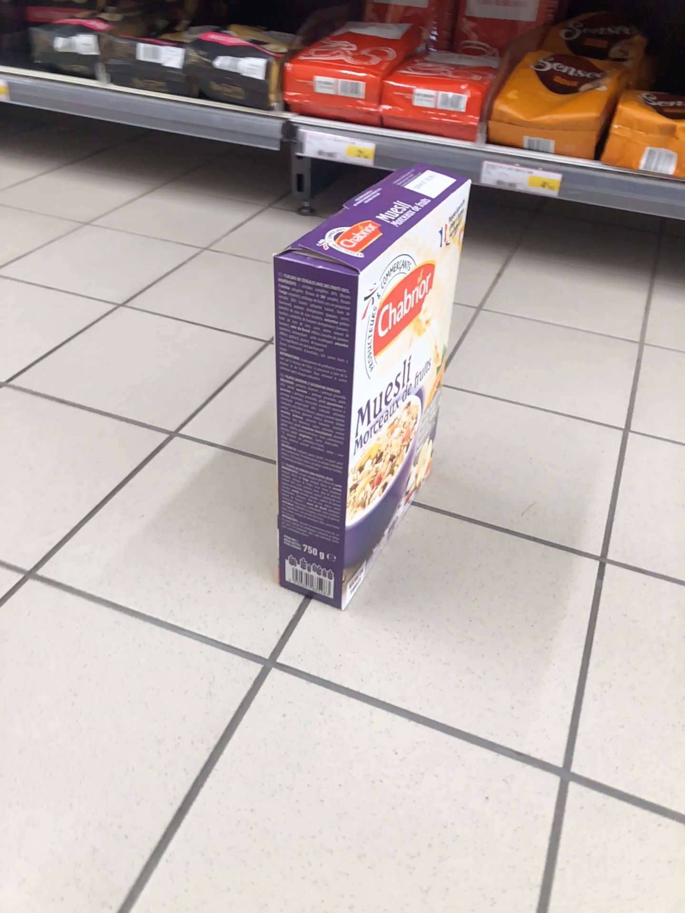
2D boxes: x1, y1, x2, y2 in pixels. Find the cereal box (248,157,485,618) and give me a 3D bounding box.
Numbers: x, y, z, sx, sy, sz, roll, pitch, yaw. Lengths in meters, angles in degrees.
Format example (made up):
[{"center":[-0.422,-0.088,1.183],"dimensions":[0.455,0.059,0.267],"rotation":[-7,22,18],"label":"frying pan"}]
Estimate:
[{"center":[0.019,-0.054,0.547],"dimensions":[0.070,0.258,0.211],"rotation":[18,39,18],"label":"cereal box"}]
